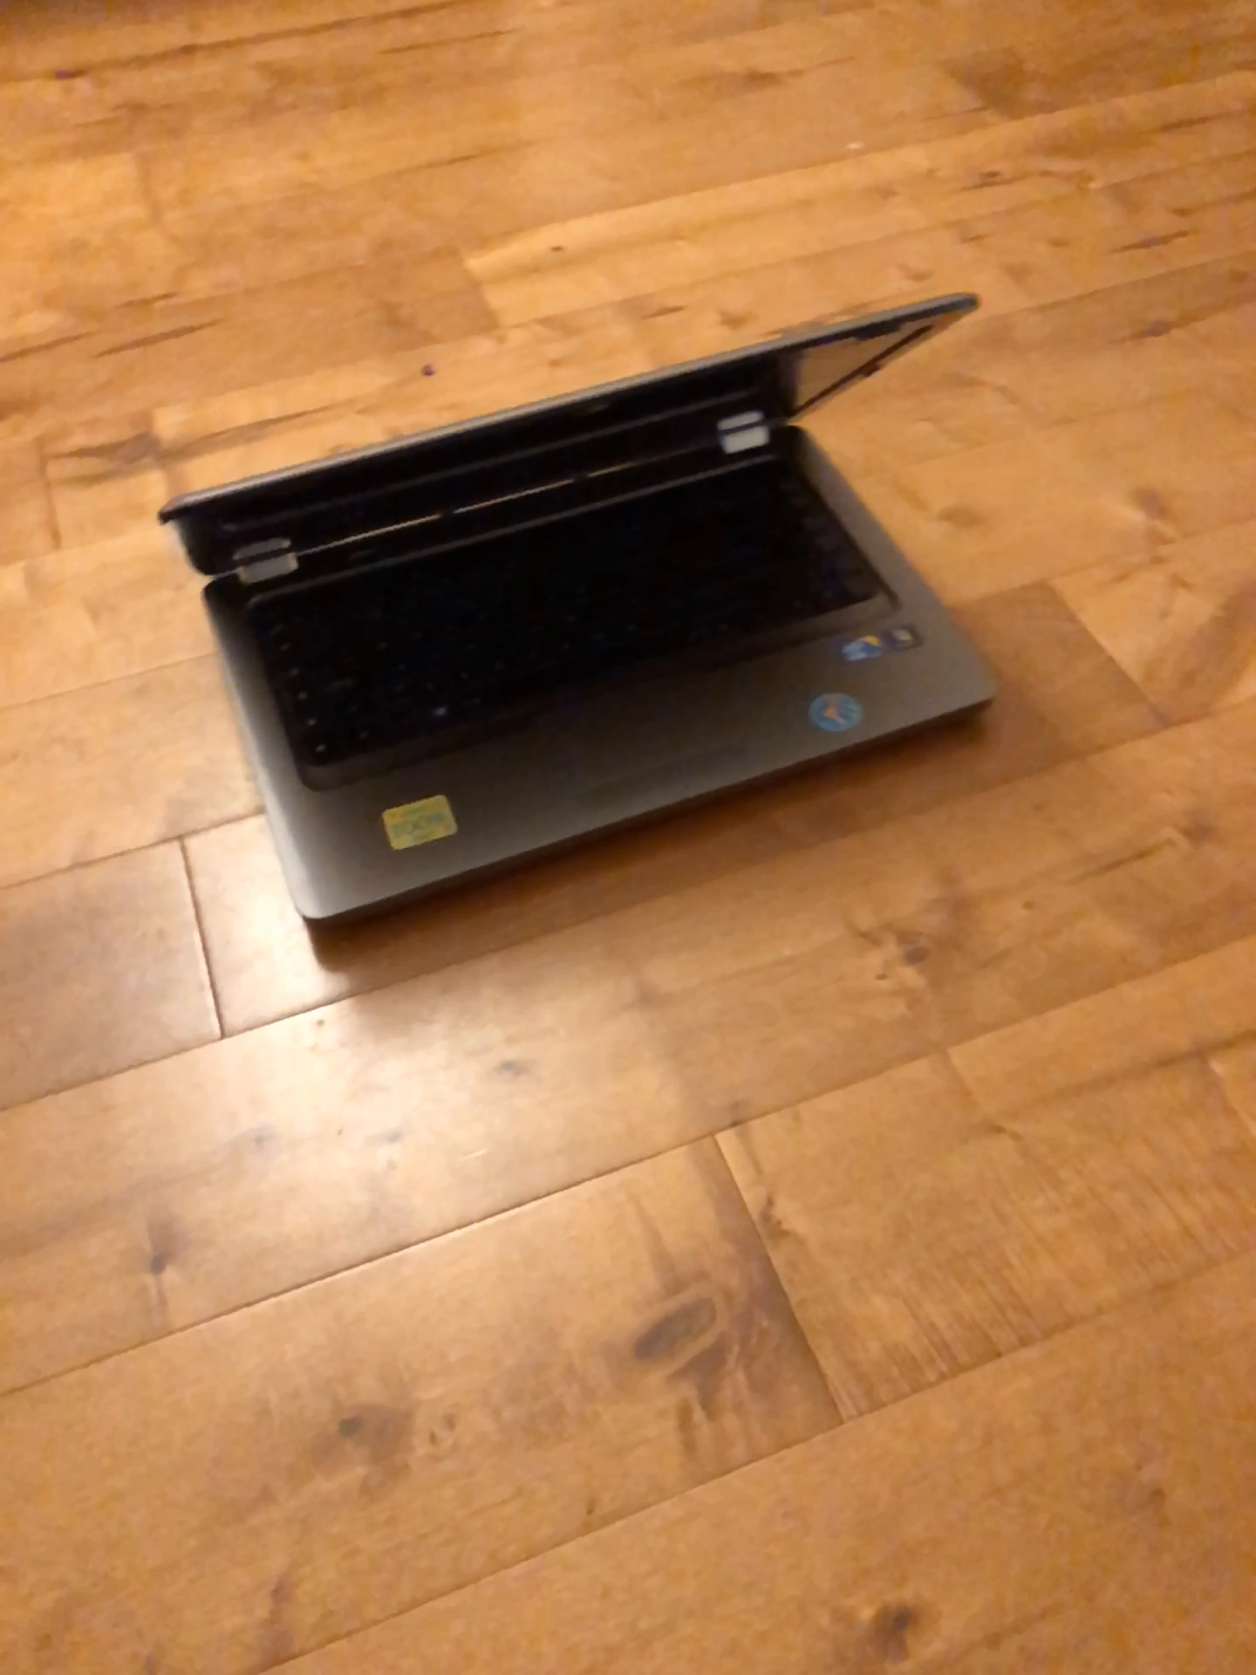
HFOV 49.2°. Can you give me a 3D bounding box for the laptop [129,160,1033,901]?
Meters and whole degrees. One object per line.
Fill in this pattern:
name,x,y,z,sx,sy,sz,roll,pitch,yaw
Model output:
laptop,-0.026,-0.160,0.667,0.346,0.164,0.224,-18,55,-13
